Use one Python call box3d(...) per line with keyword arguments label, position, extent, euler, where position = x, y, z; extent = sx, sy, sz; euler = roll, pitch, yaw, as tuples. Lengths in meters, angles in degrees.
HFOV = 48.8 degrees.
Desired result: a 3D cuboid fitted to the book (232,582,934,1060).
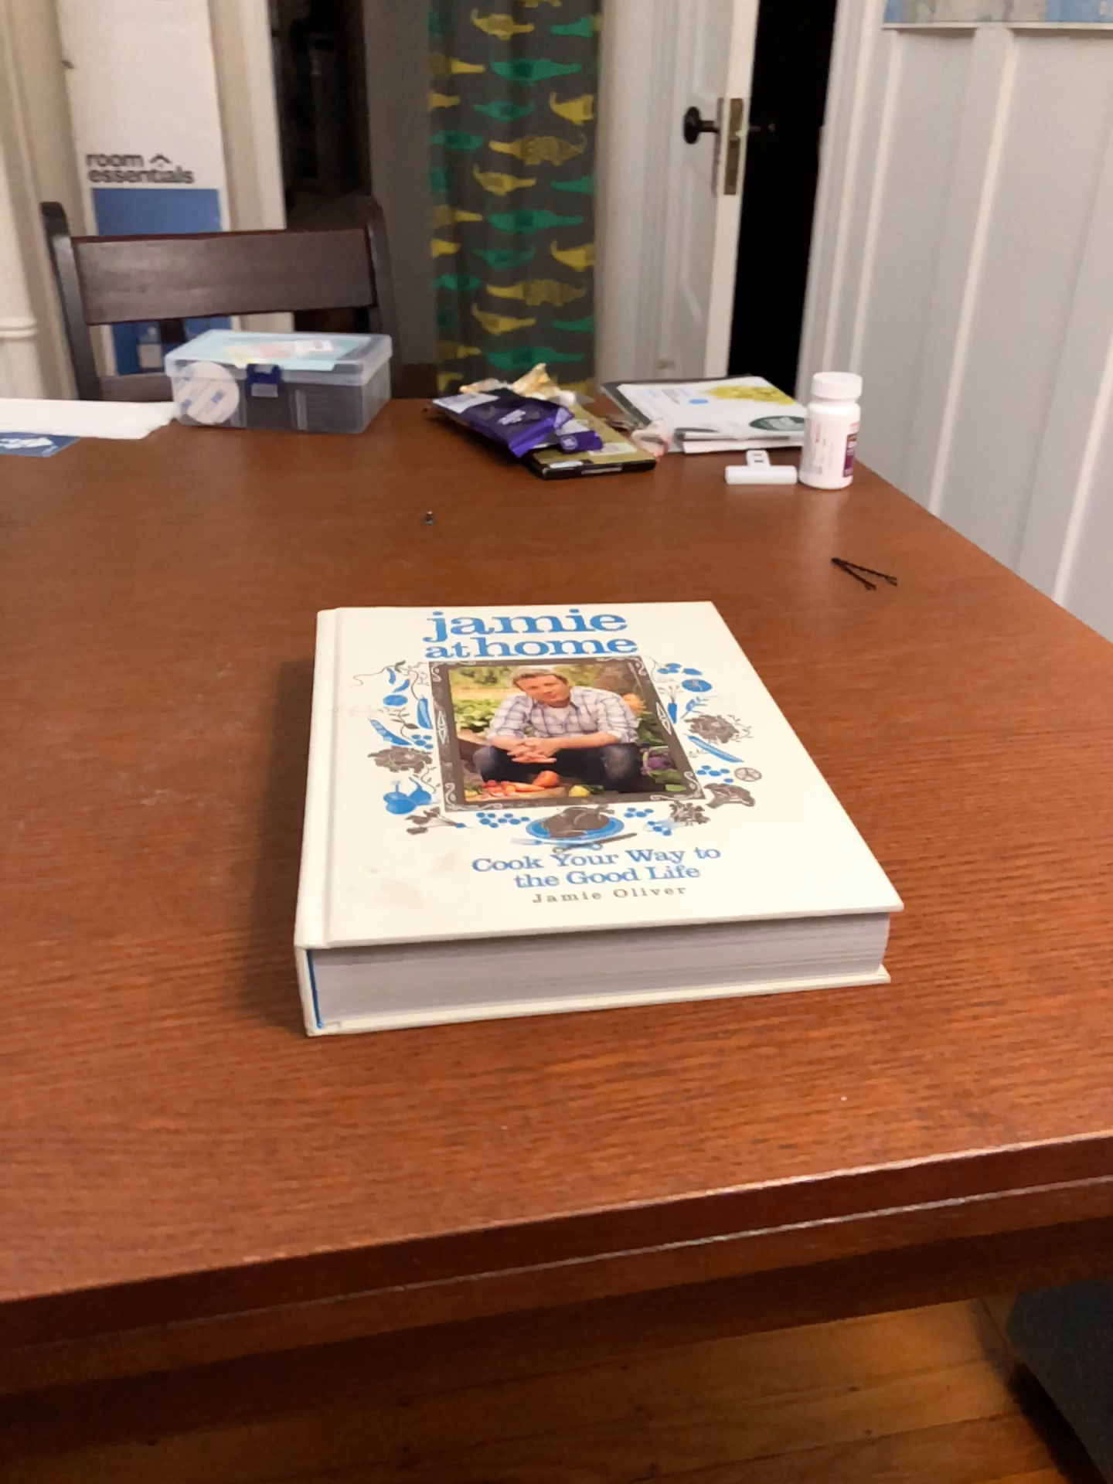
box3d(label="book", position=(-0.007, 0.009, 0.485), extent=(0.210, 0.040, 0.261), euler=(-3, 29, -7))
